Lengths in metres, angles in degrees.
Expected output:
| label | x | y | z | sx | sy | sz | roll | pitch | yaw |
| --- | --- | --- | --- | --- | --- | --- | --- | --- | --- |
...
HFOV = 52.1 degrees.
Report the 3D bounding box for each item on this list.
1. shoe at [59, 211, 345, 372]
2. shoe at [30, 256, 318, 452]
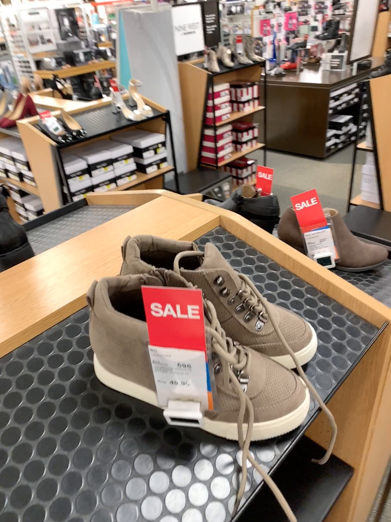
| label | x | y | z | sx | sy | sz | roll | pitch | yaw |
| --- | --- | --- | --- | --- | --- | --- | --- | --- | --- |
| shoe | 0.011 | 0.035 | 0.491 | 0.290 | 0.160 | 0.101 | 2 | 39 | 9 |
| shoe | -0.012 | 0.097 | 0.435 | 0.260 | 0.160 | 0.101 | 4 | 40 | 13 |
